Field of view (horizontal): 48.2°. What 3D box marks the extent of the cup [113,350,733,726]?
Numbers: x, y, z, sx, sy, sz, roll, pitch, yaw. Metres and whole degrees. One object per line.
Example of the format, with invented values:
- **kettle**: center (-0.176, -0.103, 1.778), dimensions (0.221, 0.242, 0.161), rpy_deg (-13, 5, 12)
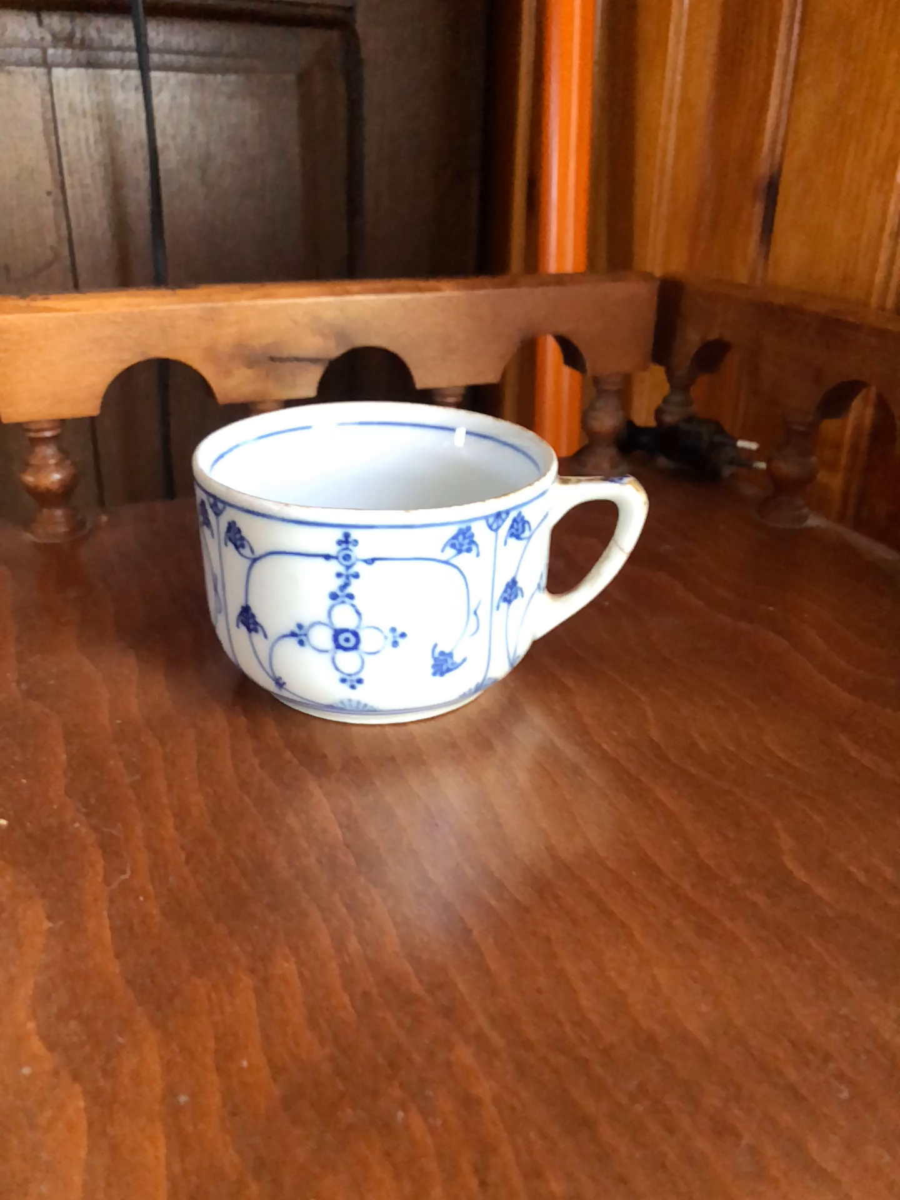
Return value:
- **cup**: center (-0.004, -0.020, 0.243), dimensions (0.120, 0.060, 0.080), rpy_deg (3, 25, 3)
